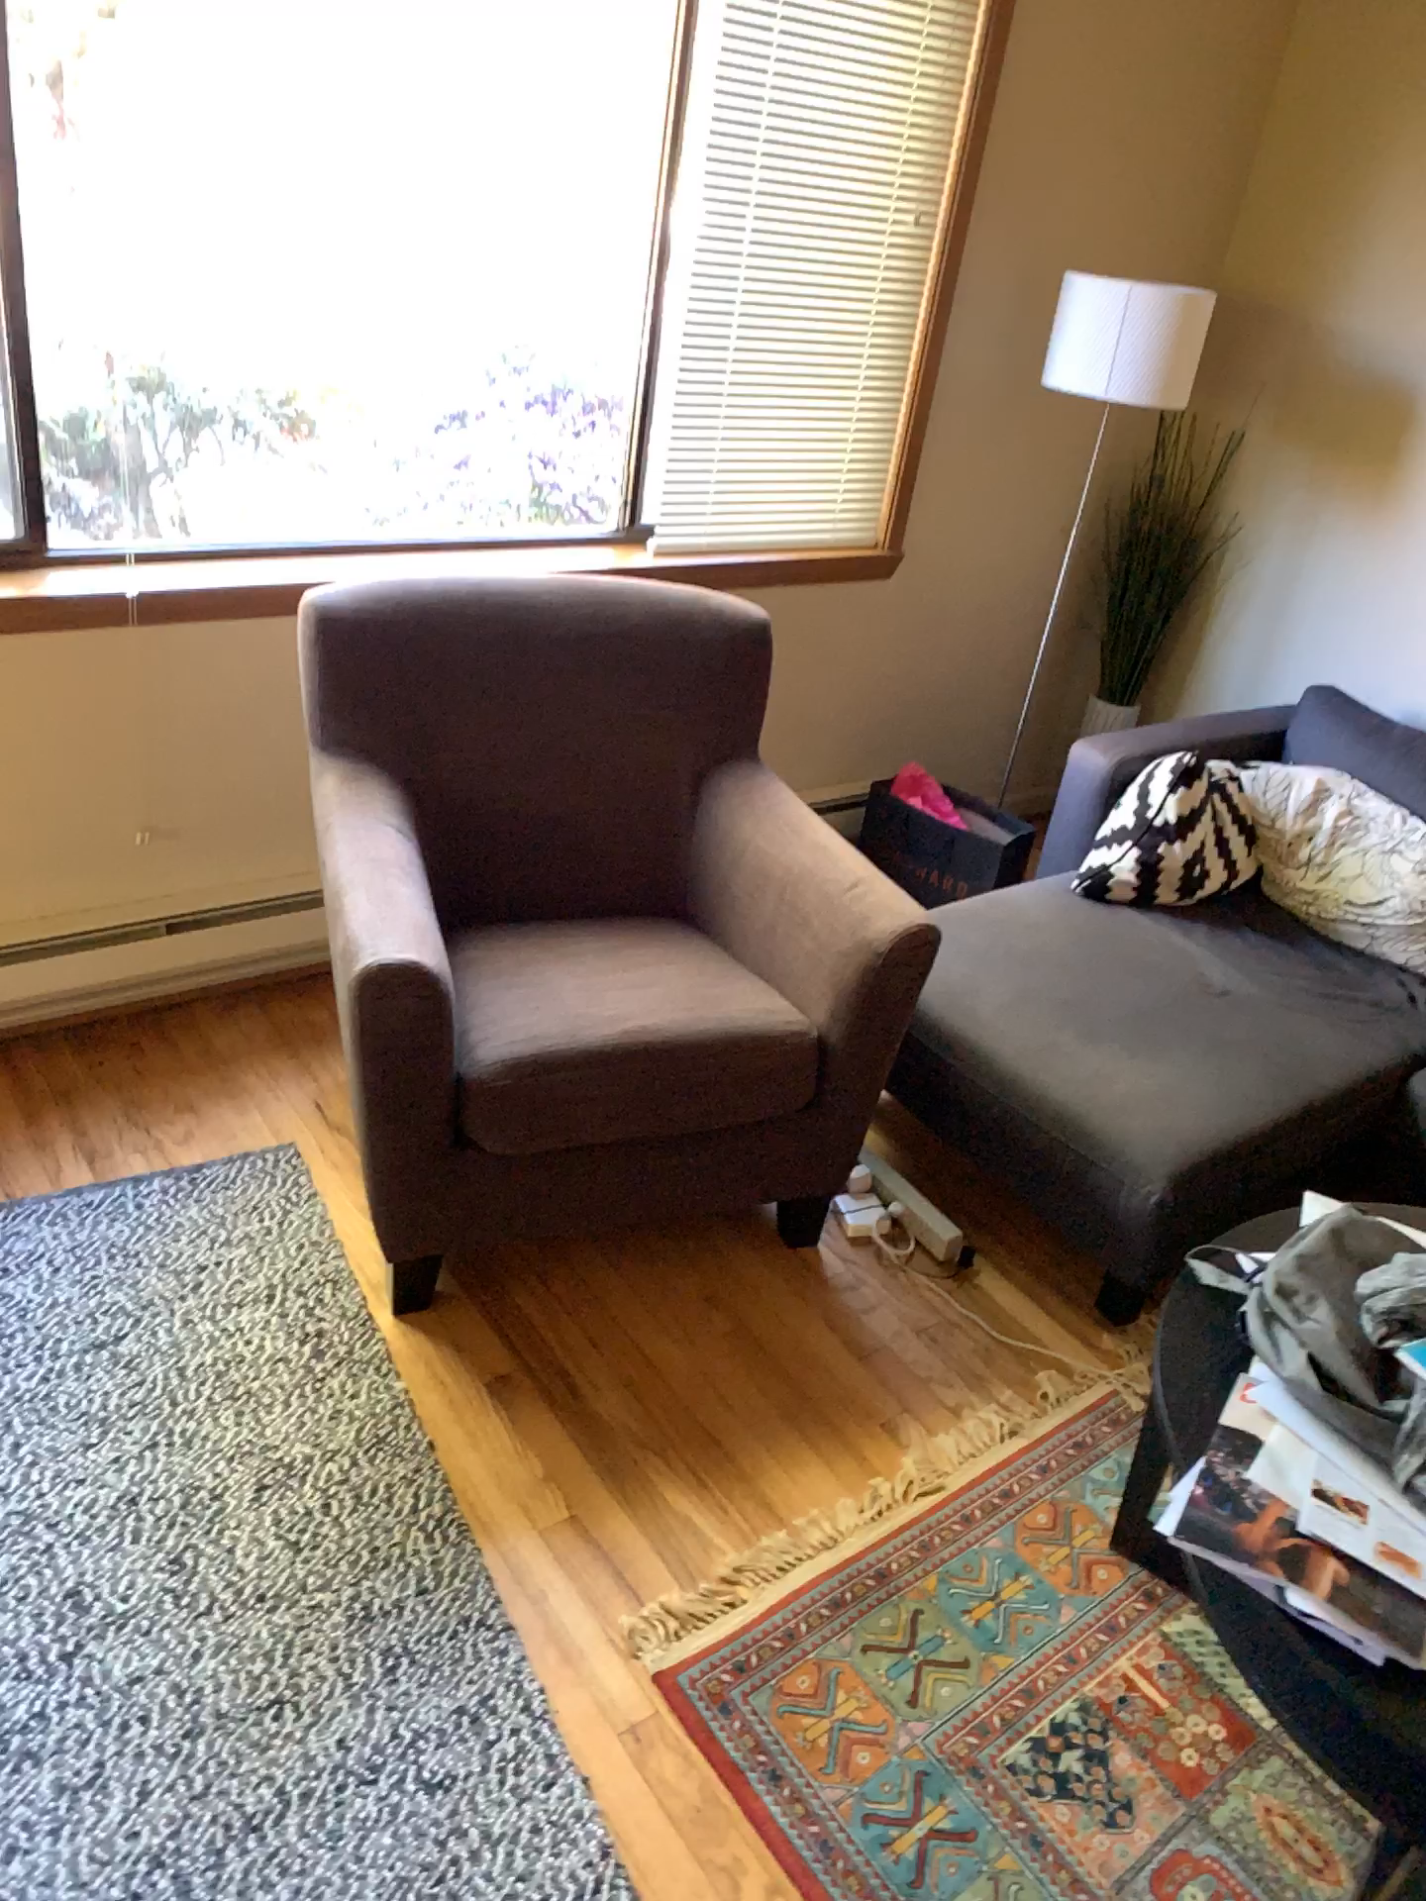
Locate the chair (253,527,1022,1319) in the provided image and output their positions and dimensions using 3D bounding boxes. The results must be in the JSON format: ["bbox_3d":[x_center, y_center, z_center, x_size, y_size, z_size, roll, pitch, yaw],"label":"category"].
[{"bbox_3d":[-0.201,-0.107,2.270,0.881,0.876,0.803,-5,29,-24],"label":"chair"}]
